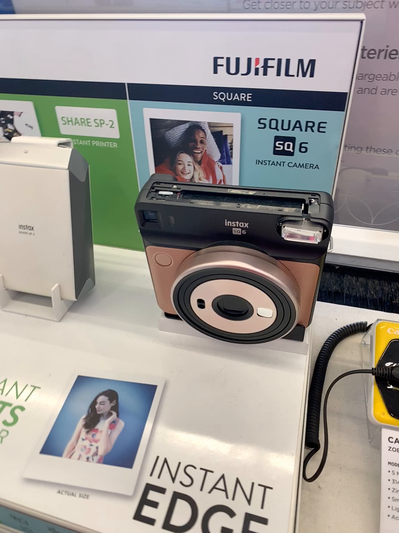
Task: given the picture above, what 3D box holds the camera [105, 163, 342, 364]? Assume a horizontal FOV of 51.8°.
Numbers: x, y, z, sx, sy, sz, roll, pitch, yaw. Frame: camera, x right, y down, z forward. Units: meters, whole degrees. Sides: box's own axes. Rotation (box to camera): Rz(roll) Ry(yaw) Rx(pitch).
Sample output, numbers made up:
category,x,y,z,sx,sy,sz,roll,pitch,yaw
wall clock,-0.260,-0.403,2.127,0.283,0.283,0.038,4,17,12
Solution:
category,x,y,z,sx,sy,sz,roll,pitch,yaw
camera,0.019,0.001,0.286,0.130,0.119,0.061,7,48,10
